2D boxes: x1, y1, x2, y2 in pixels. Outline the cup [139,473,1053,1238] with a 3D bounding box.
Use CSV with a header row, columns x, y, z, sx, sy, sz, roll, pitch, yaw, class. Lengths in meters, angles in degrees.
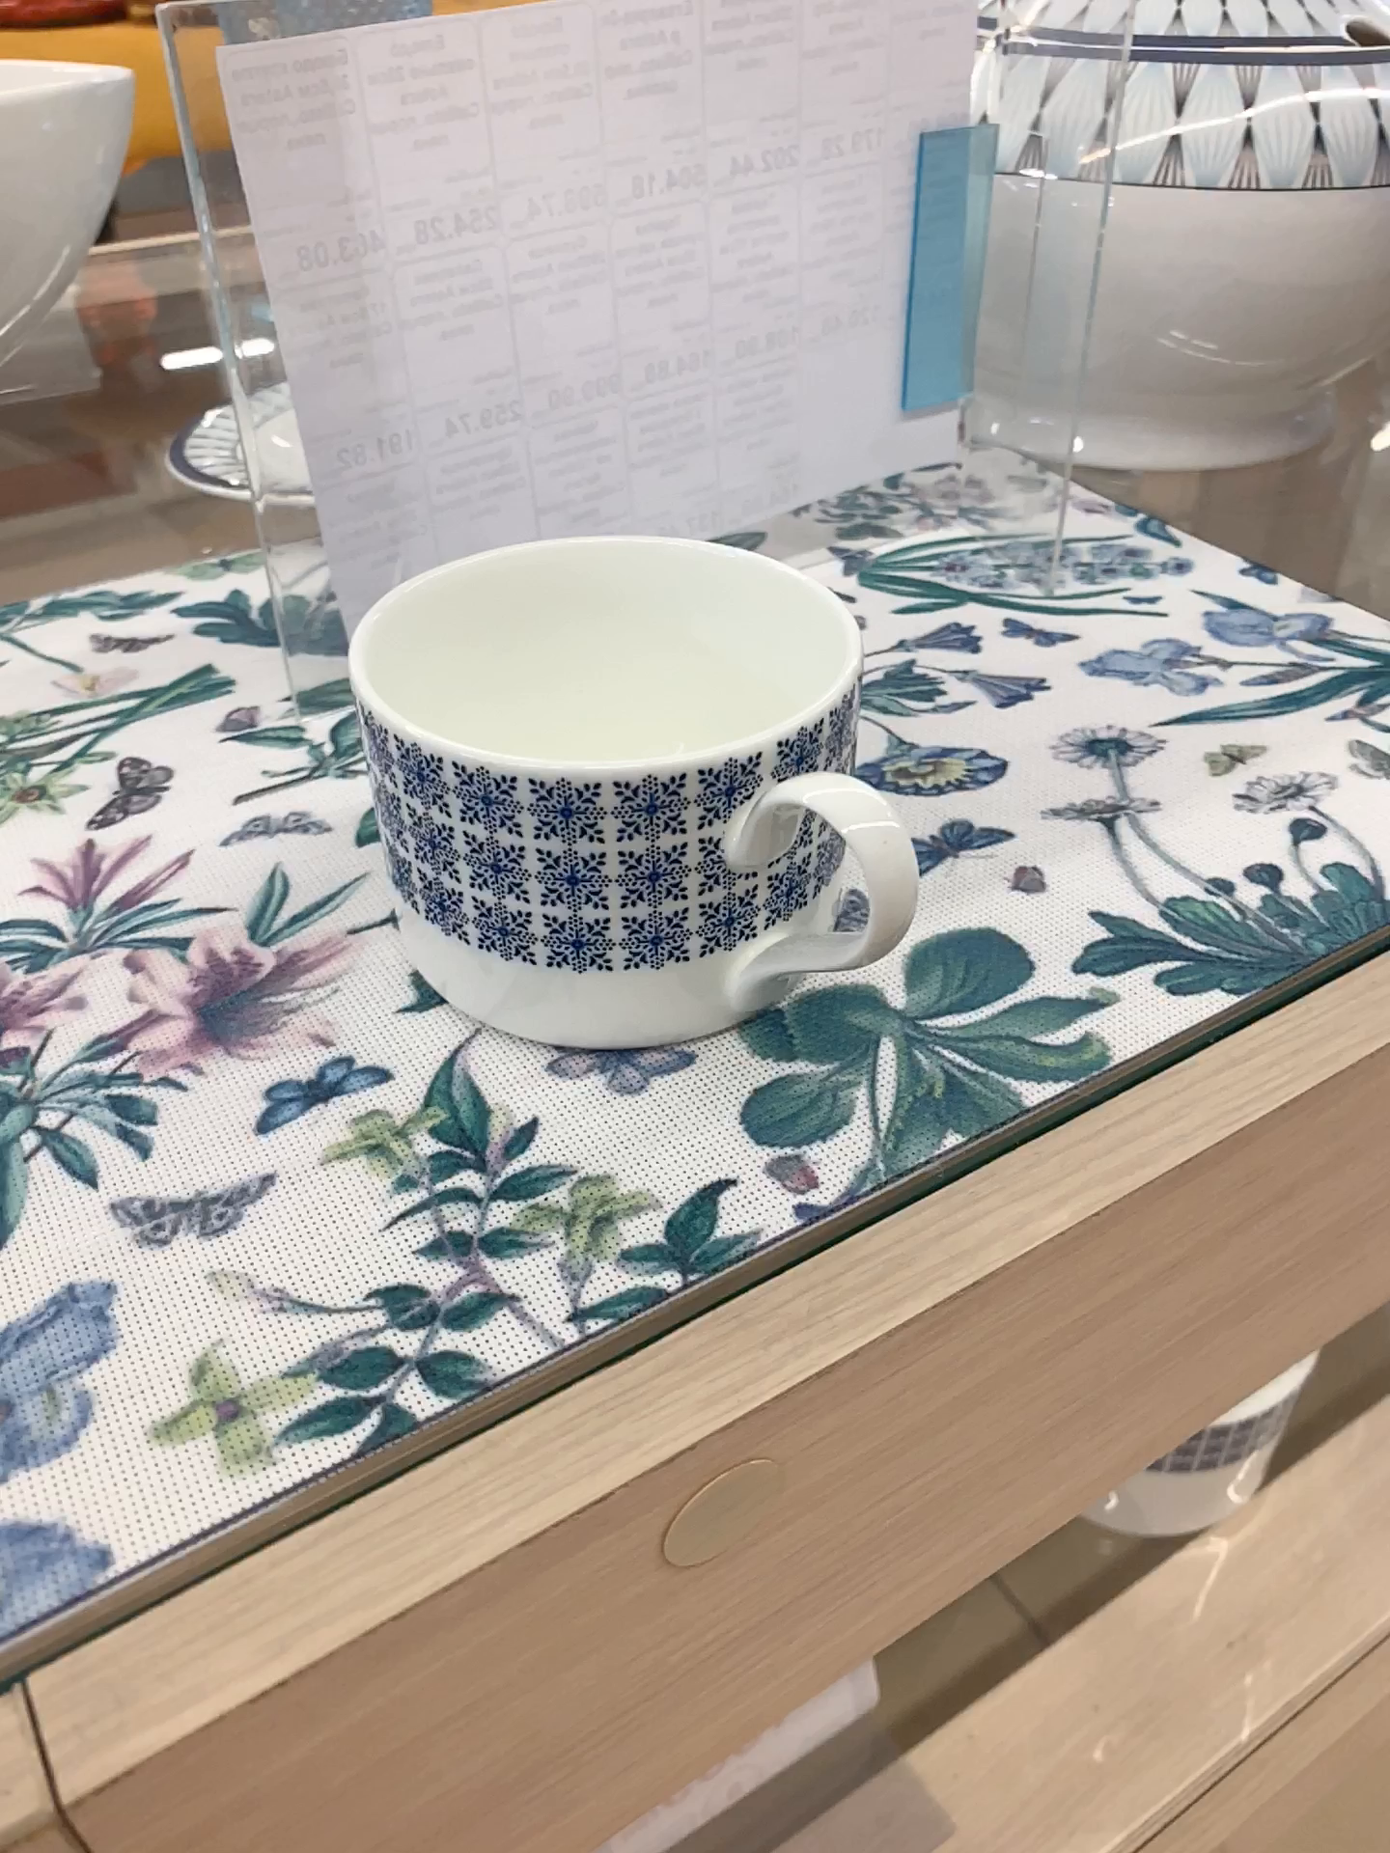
x,y,z,sx,sy,sz,roll,pitch,yaw,class
-0.018,-0.023,0.253,0.120,0.060,0.090,29,47,33,cup
